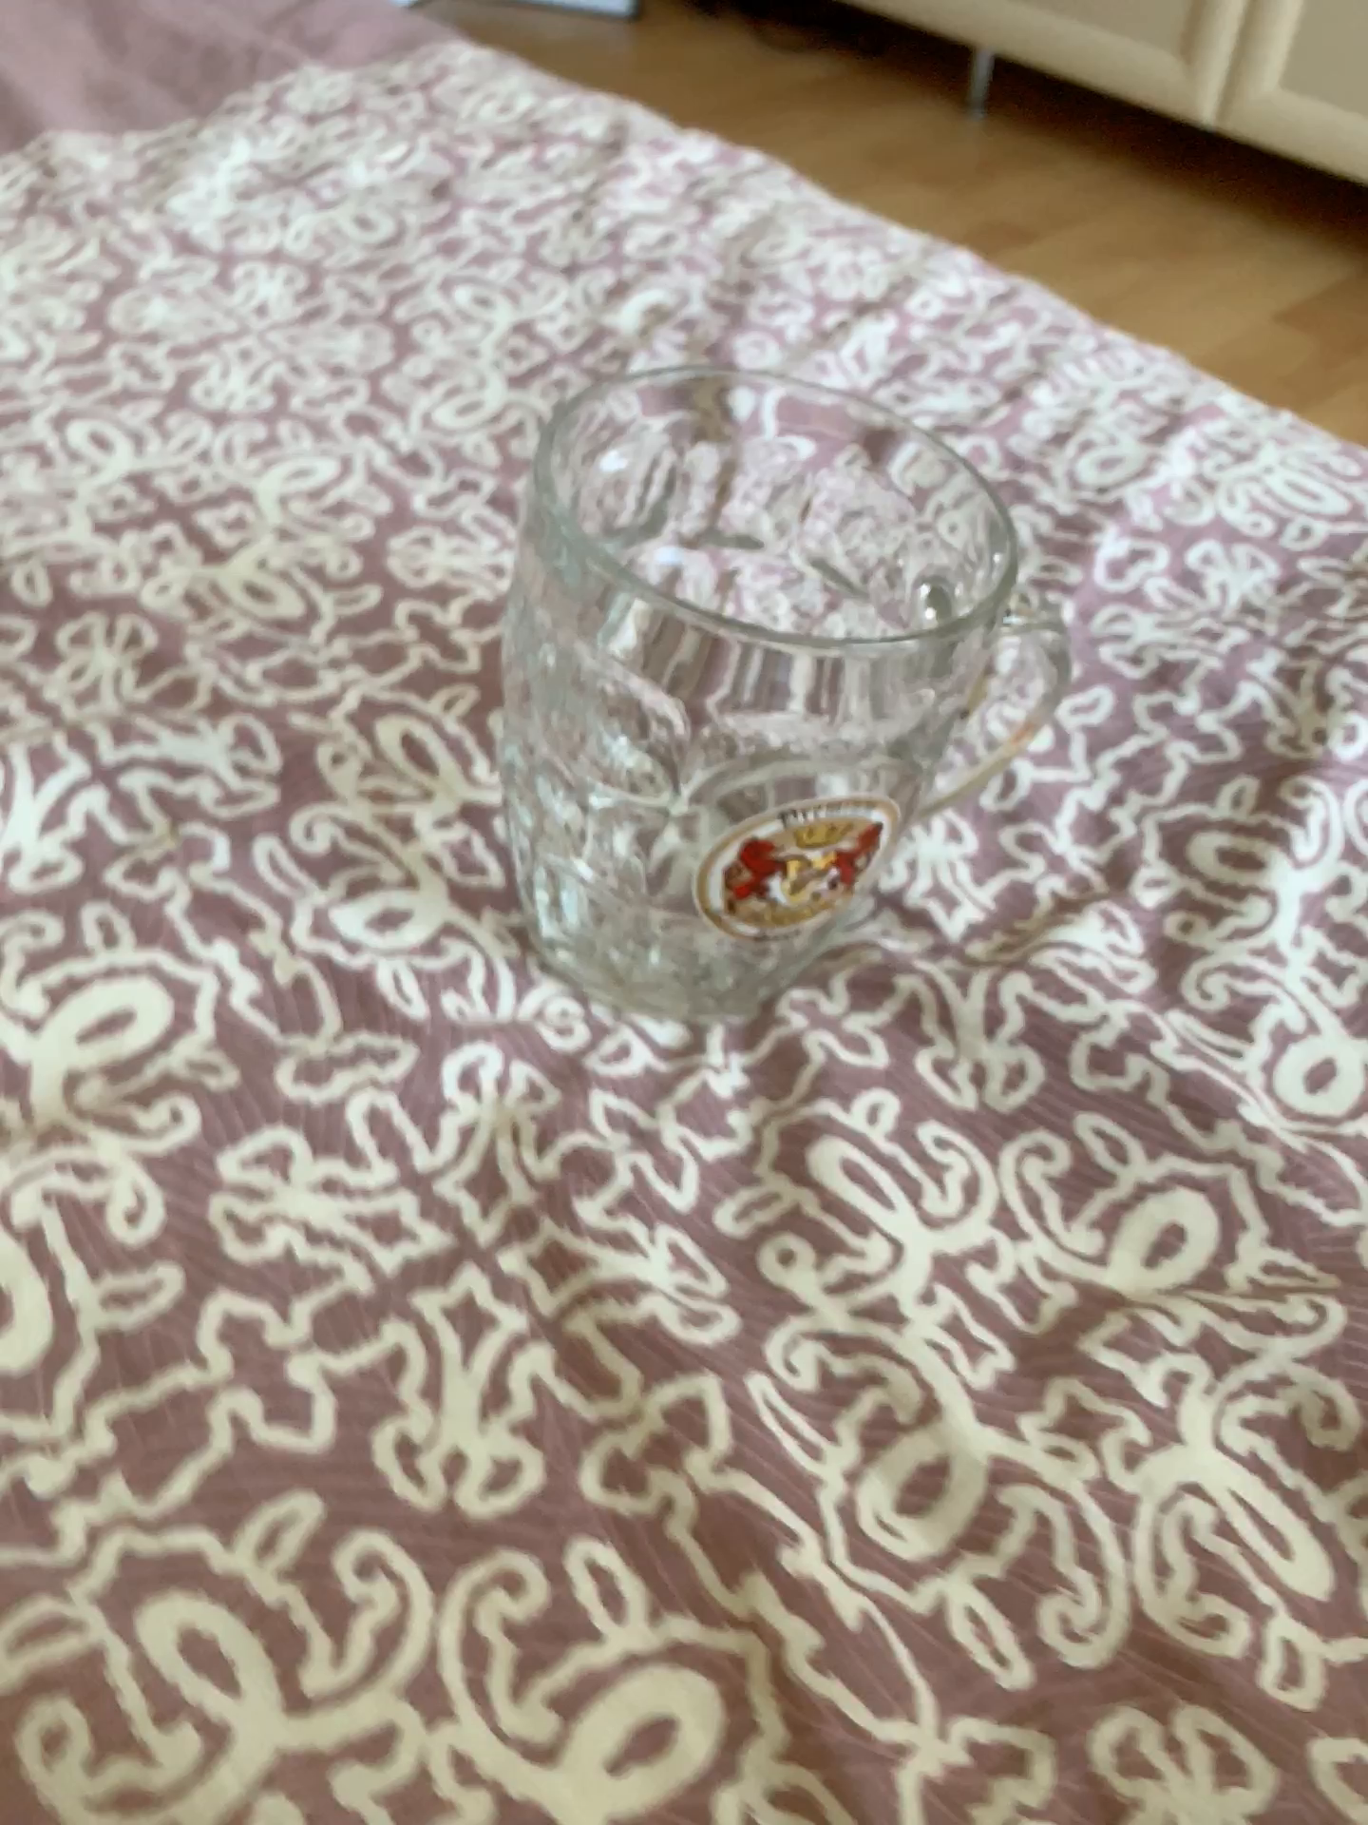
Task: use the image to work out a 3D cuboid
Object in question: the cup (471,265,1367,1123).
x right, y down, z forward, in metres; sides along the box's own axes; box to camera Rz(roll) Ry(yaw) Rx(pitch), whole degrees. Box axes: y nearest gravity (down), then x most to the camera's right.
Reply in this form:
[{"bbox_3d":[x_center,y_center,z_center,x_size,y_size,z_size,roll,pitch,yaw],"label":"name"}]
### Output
[{"bbox_3d":[0.037,-0.044,0.284,0.130,0.109,0.091,-17,54,-18],"label":"cup"}]
